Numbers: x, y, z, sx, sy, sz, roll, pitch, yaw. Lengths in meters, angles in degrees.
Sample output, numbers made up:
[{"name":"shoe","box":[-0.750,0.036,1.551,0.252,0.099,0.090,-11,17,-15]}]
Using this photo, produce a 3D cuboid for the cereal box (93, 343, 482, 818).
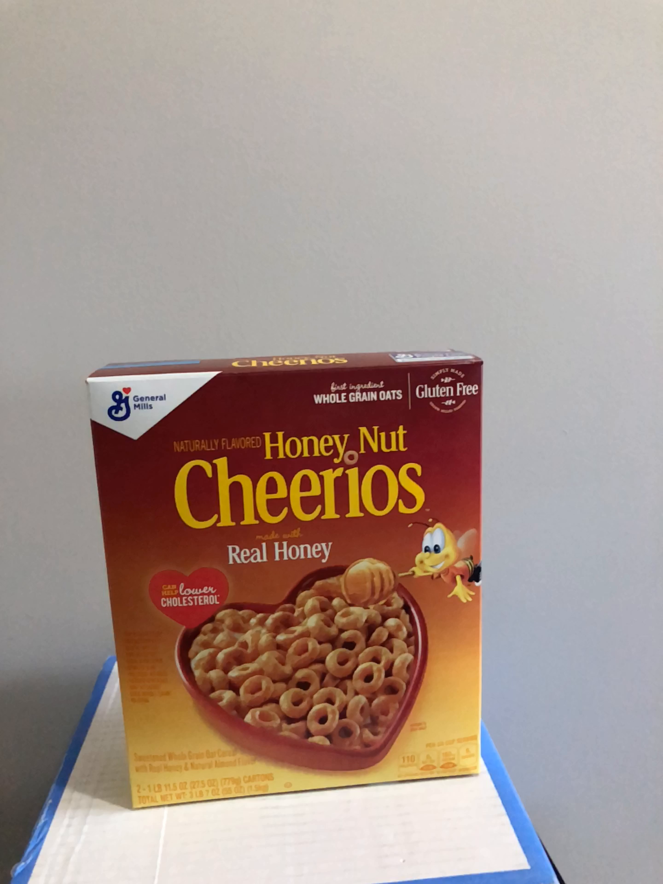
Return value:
[{"name":"cereal box","box":[-0.023,0.094,0.525,0.240,0.309,0.080,-3,12,-5]}]
